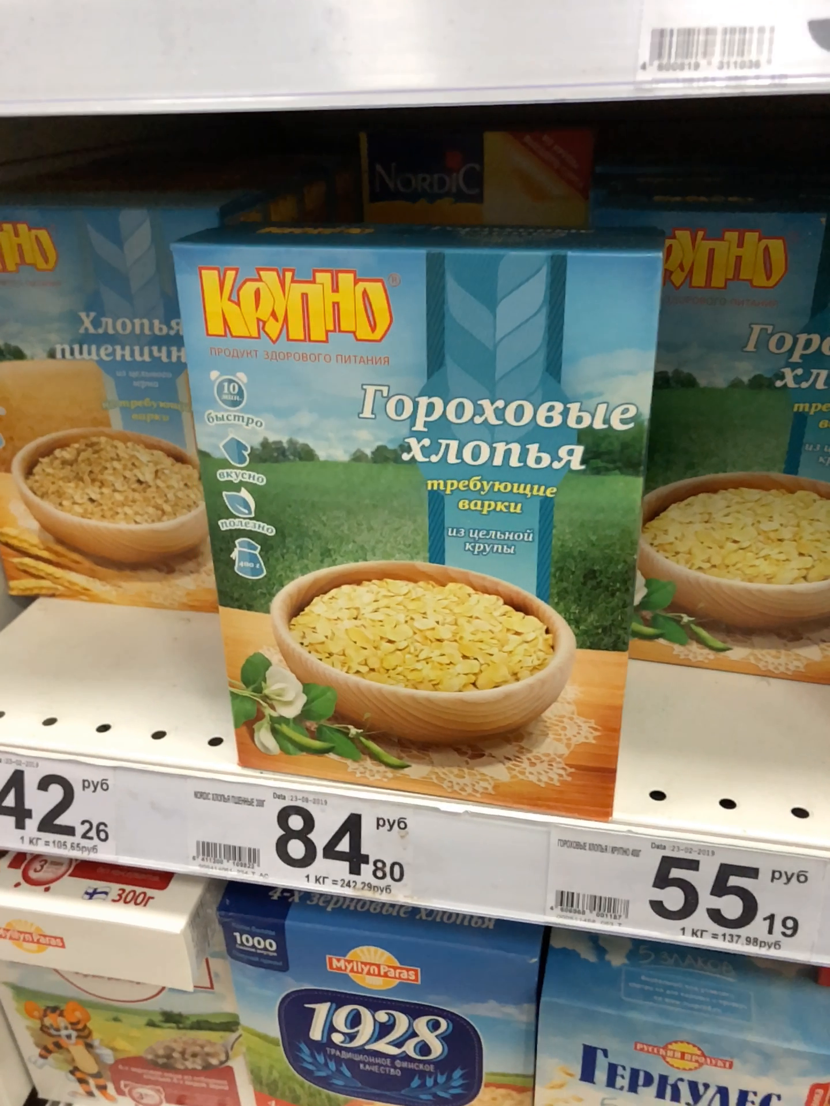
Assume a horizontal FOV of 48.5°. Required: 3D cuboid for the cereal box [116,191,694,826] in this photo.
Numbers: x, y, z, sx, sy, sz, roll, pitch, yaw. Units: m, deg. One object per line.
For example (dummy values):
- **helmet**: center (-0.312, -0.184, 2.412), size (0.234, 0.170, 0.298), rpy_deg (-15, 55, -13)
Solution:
- **cereal box**: center (-0.001, -0.014, 0.312), size (0.160, 0.199, 0.050), rpy_deg (5, 26, 13)
